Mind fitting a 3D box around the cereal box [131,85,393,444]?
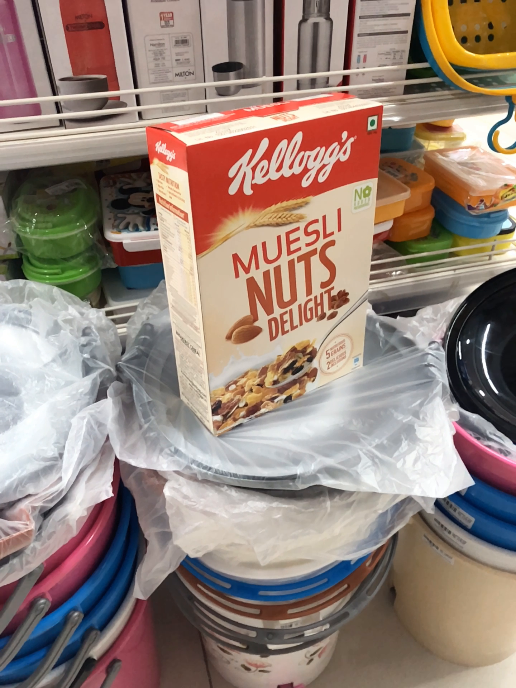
[{"bbox_3d":[0.013,-0.069,0.497,0.190,0.259,0.070,-21,36,-27],"label":"cereal box"}]
